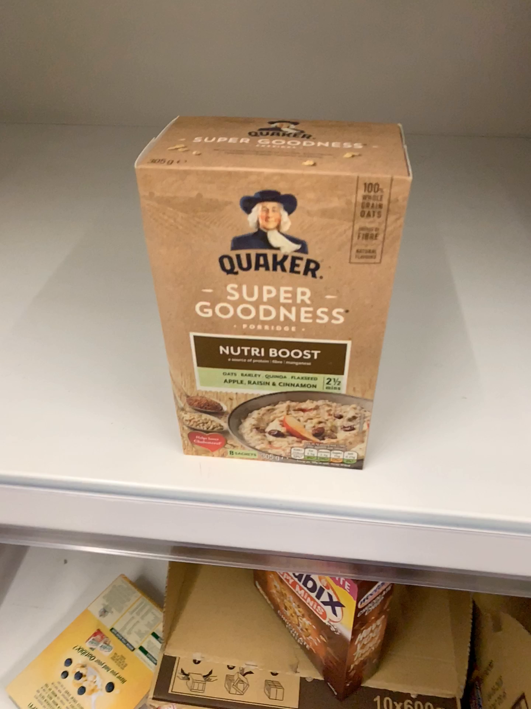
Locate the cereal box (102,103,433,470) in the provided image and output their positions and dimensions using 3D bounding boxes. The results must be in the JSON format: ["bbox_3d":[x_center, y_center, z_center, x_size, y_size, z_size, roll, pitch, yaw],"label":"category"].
[{"bbox_3d":[0.004,-0.030,0.319,0.140,0.198,0.071,4,40,5],"label":"cereal box"}]
